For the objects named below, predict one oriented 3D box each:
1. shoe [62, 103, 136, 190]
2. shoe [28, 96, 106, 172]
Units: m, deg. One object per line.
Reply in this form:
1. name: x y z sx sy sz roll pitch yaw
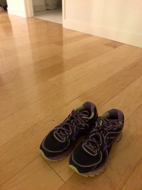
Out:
1. shoe: 0.103 0.146 0.514 0.120 0.069 0.272 24 42 29
2. shoe: 0.000 0.115 0.543 0.110 0.069 0.271 27 43 32
